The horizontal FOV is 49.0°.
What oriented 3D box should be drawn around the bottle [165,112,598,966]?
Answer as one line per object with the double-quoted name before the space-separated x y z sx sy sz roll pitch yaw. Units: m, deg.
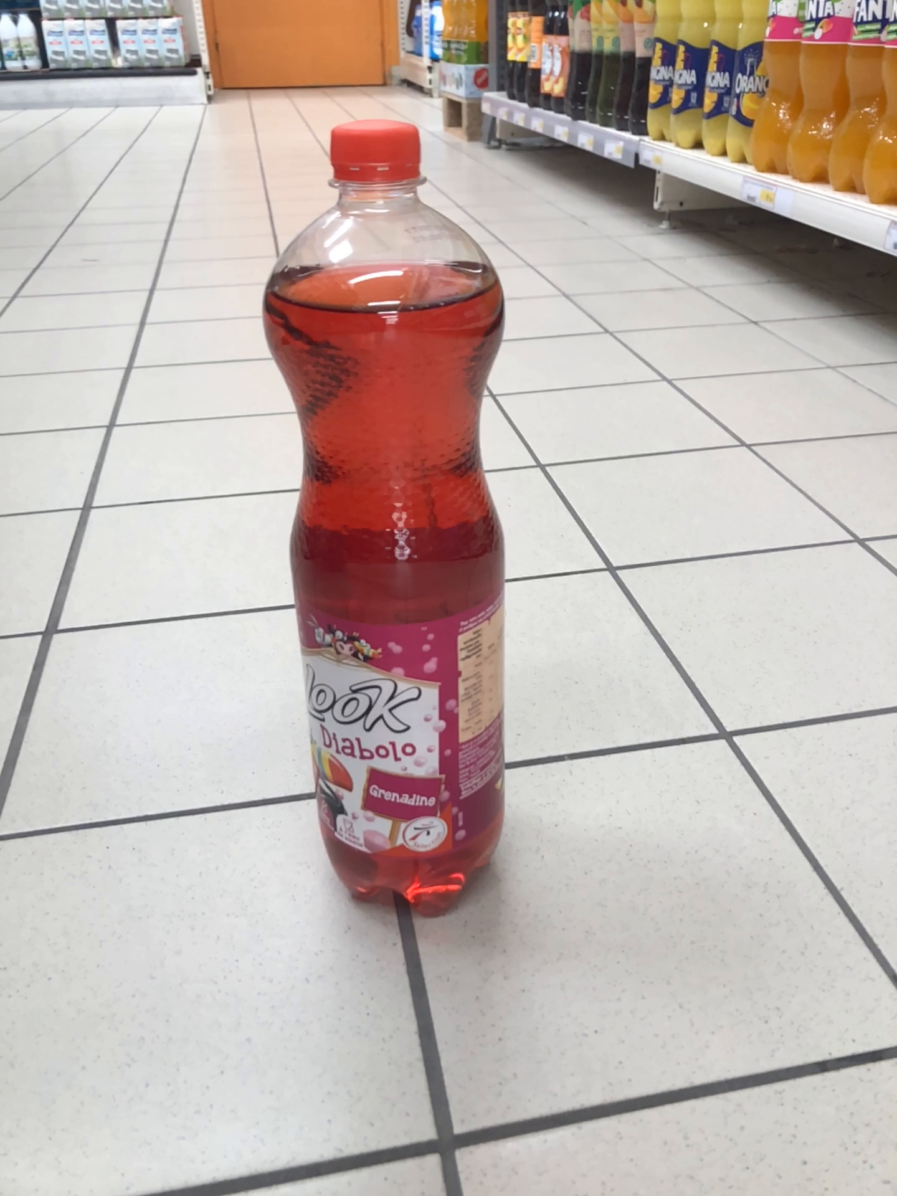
"bottle" -0.015 -0.016 0.389 0.100 0.308 0.101 -1 29 0
